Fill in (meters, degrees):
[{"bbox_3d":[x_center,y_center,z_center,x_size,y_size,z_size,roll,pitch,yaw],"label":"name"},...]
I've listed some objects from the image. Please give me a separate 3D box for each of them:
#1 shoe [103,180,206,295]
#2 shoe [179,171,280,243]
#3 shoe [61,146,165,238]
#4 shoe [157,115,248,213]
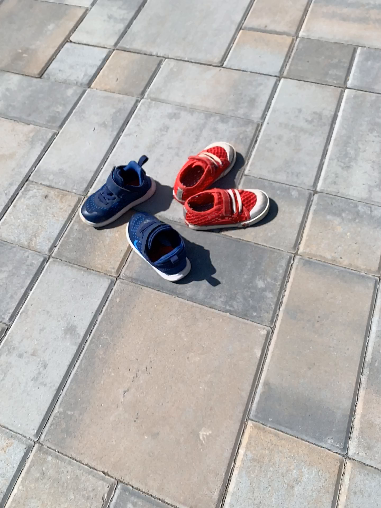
[{"bbox_3d":[-0.066,-0.032,0.732,0.090,0.090,0.180,-37,65,-13],"label":"shoe"},{"bbox_3d":[0.071,-0.088,0.743,0.170,0.070,0.080,-10,62,1],"label":"shoe"},{"bbox_3d":[-0.146,-0.121,0.763,0.170,0.070,0.080,-34,64,-12],"label":"shoe"},{"bbox_3d":[0.027,-0.177,0.765,0.080,0.070,0.170,36,71,21],"label":"shoe"}]
